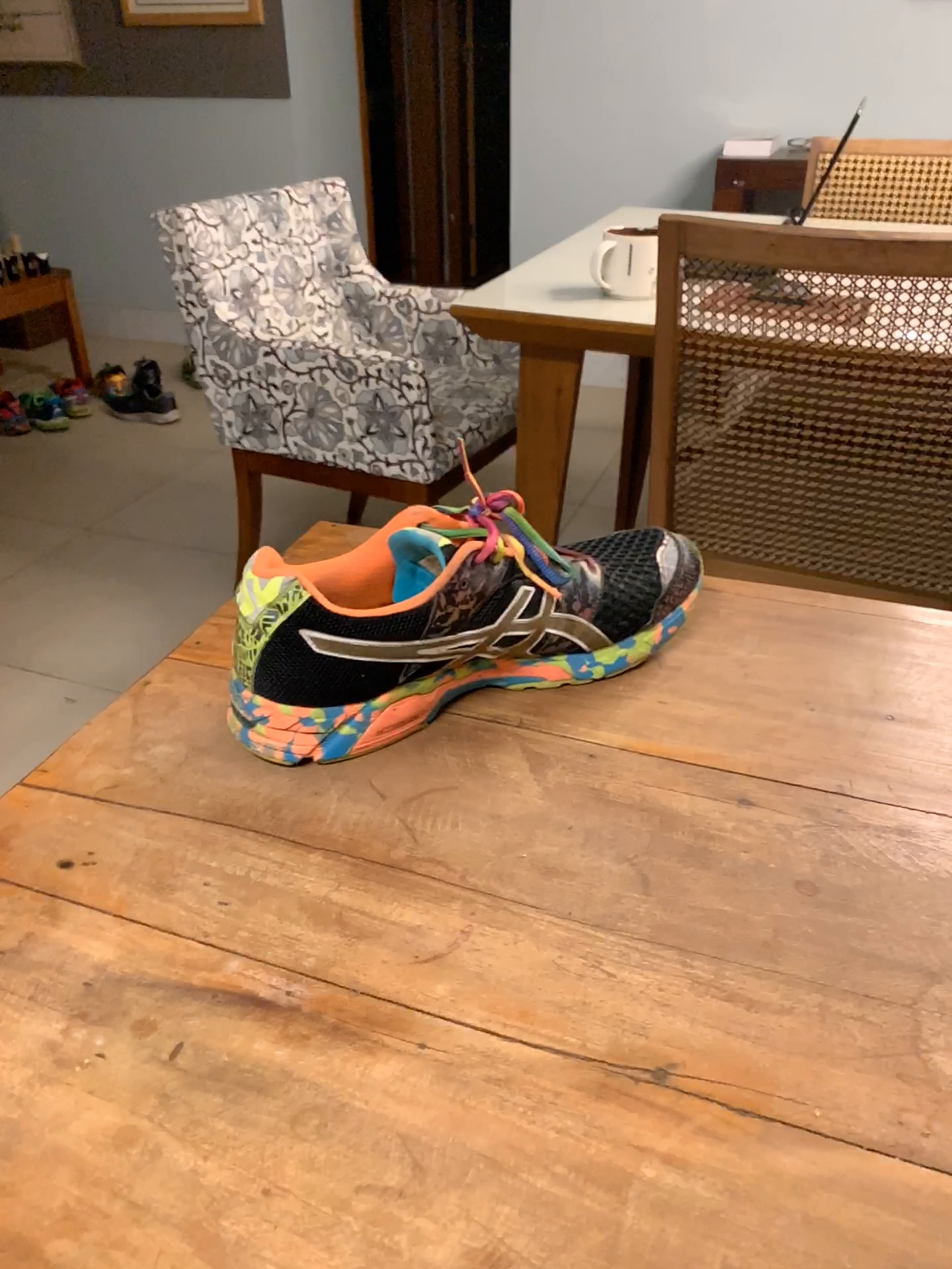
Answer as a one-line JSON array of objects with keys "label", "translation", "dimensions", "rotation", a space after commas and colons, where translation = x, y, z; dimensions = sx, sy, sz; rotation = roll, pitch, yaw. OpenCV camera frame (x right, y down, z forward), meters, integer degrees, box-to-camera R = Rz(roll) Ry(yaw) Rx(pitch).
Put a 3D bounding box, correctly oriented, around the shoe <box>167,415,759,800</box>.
[{"label": "shoe", "translation": [0.000, -0.030, 0.567], "dimensions": [0.313, 0.112, 0.108], "rotation": [-17, 35, -24]}]
